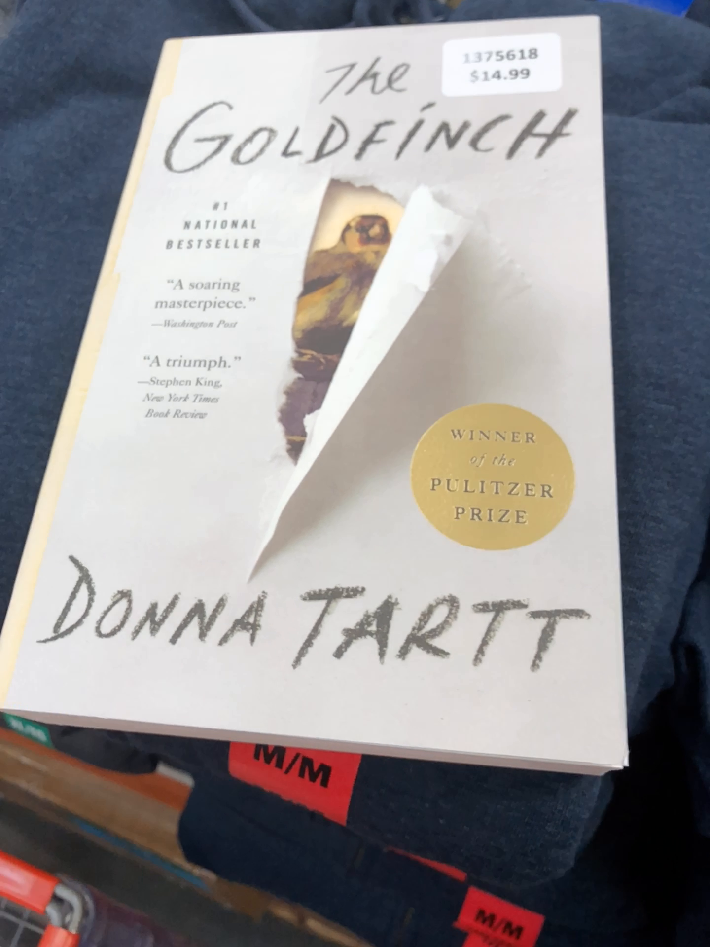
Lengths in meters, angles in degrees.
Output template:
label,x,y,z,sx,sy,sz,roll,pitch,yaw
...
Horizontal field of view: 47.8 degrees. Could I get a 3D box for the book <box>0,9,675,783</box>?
label,x,y,z,sx,sy,sz,roll,pitch,yaw
book,-0.001,-0.036,0.234,0.158,0.041,0.222,2,66,9
